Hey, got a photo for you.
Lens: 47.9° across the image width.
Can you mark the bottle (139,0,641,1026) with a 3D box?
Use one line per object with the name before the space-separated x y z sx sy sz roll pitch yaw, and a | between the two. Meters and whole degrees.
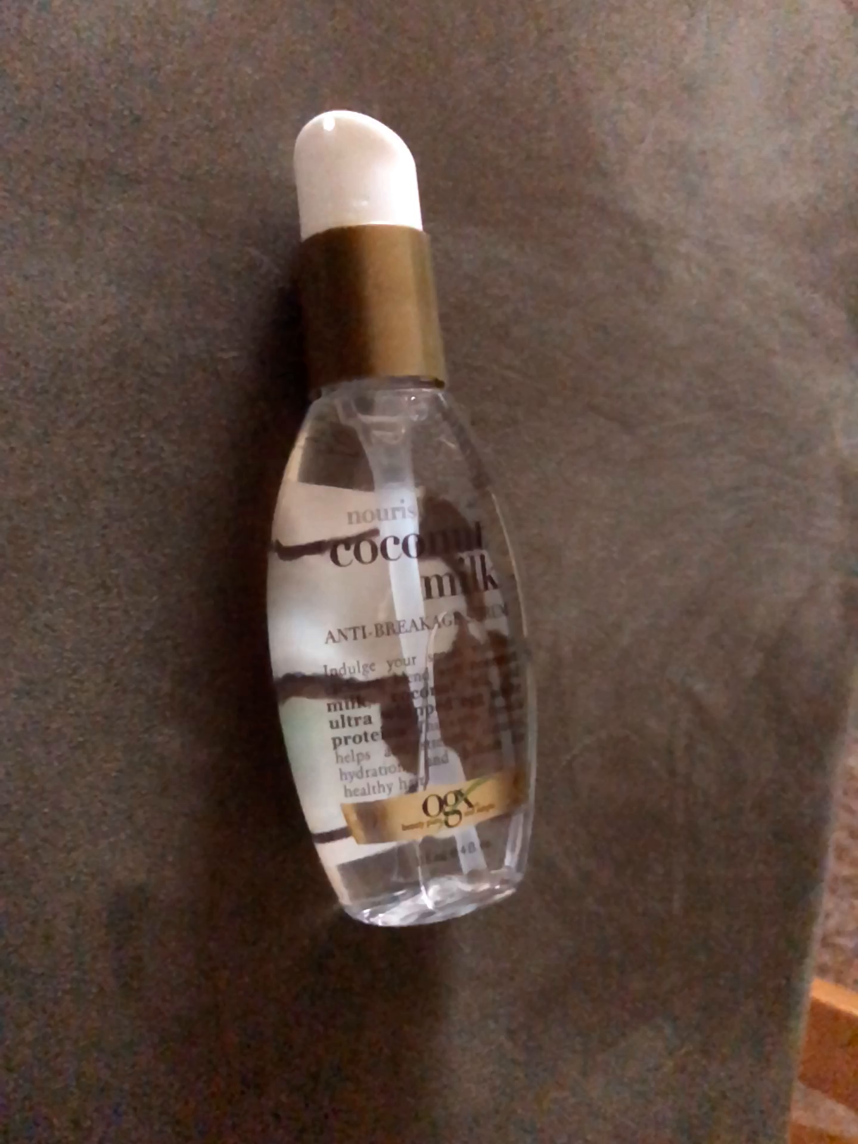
bottle | -0.006 -0.014 0.190 0.070 0.040 0.170 -8 93 -31
